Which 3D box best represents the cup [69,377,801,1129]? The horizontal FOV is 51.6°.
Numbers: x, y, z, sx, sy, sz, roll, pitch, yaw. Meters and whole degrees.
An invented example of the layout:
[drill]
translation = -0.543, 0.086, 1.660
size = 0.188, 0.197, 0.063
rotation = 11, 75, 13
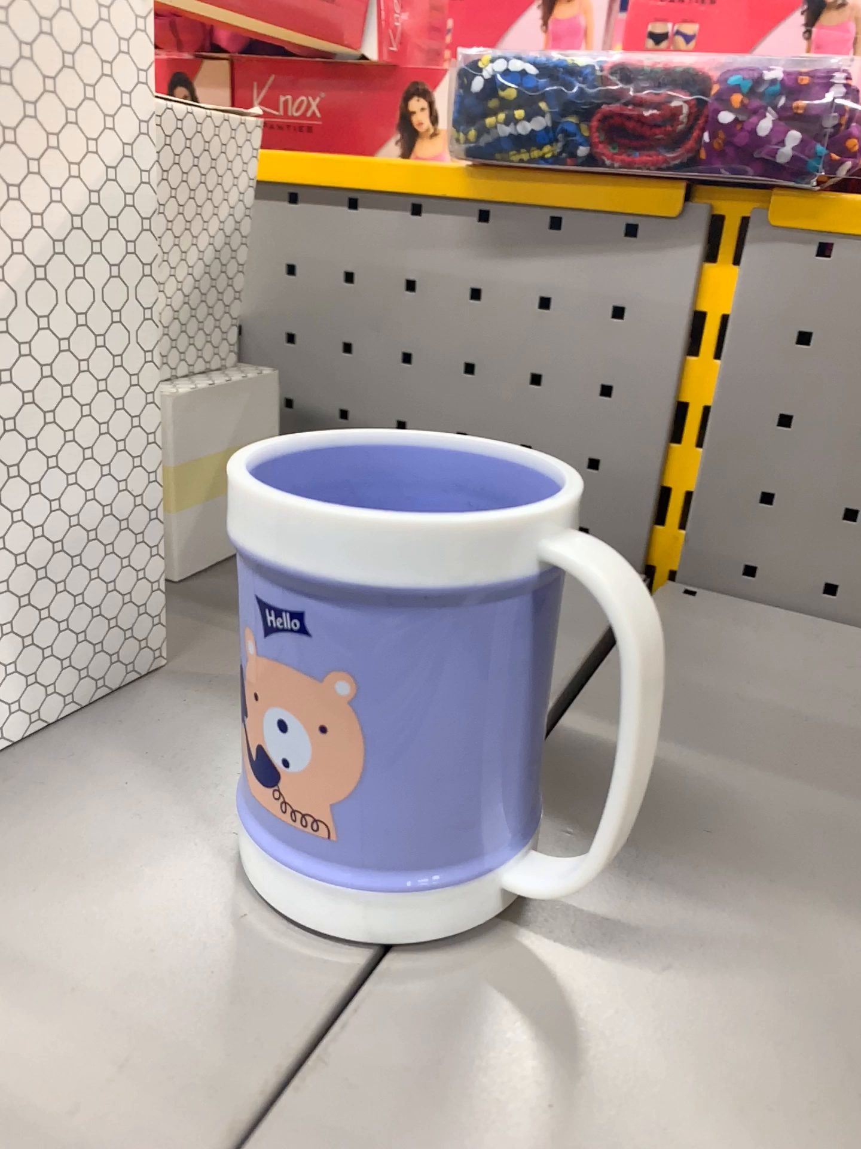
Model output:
[cup]
translation = -0.001, 0.020, 0.200
size = 0.120, 0.100, 0.090
rotation = 19, 25, 29
